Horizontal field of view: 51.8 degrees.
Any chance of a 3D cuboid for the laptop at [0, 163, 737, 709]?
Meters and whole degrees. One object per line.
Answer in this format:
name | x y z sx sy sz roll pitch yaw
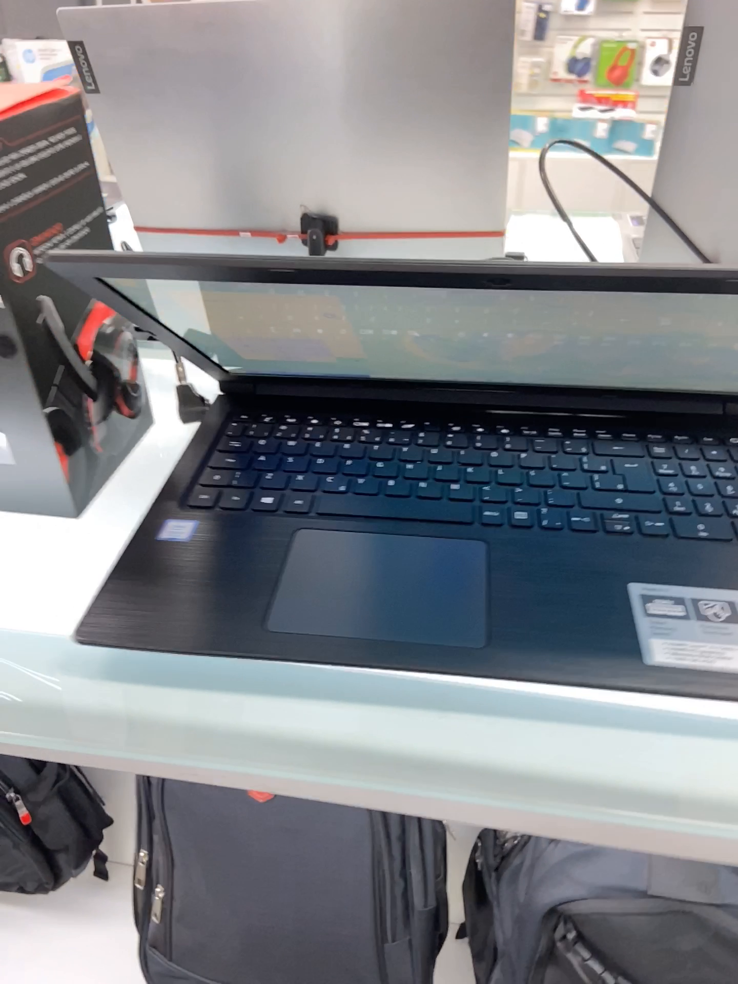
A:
laptop | 0.060 -0.055 0.386 0.370 0.157 0.240 3 36 7
